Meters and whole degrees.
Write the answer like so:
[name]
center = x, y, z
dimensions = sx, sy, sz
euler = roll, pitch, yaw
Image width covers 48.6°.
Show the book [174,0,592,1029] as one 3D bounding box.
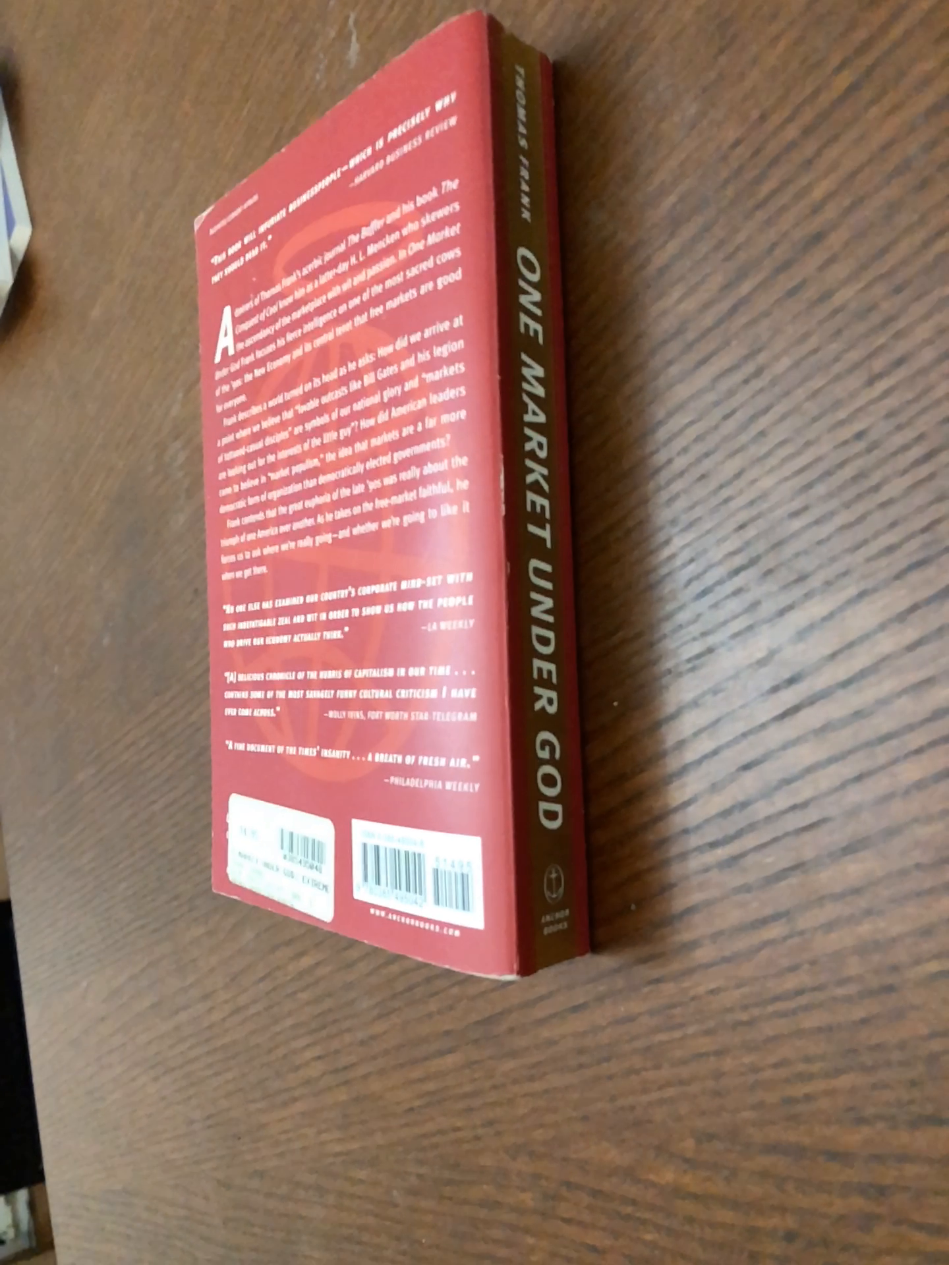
[book]
center = -0.034, -0.023, 0.277
dimensions = 0.141, 0.030, 0.210
euler = -4, 87, 50
